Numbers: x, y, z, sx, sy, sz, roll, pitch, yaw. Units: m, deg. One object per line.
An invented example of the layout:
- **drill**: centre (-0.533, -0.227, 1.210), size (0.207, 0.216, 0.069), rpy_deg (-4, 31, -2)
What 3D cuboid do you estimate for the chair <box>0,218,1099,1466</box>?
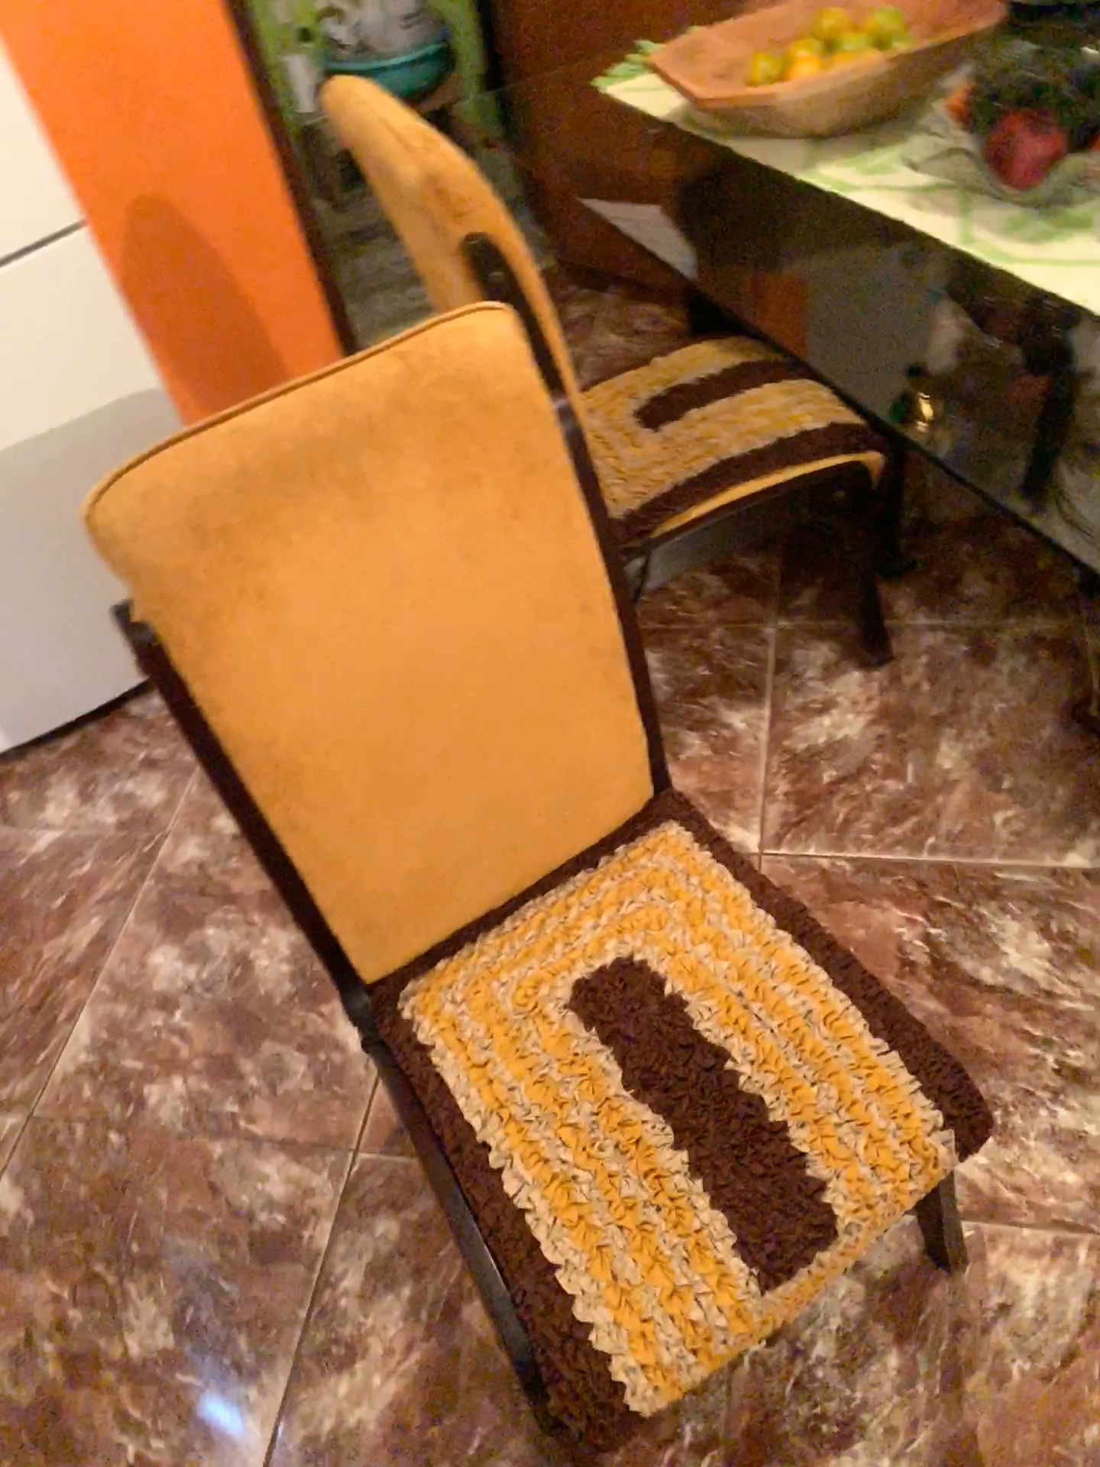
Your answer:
- **chair**: centre (0.057, 0.199, 0.991), size (0.561, 0.936, 0.602), rpy_deg (-30, 48, -14)
